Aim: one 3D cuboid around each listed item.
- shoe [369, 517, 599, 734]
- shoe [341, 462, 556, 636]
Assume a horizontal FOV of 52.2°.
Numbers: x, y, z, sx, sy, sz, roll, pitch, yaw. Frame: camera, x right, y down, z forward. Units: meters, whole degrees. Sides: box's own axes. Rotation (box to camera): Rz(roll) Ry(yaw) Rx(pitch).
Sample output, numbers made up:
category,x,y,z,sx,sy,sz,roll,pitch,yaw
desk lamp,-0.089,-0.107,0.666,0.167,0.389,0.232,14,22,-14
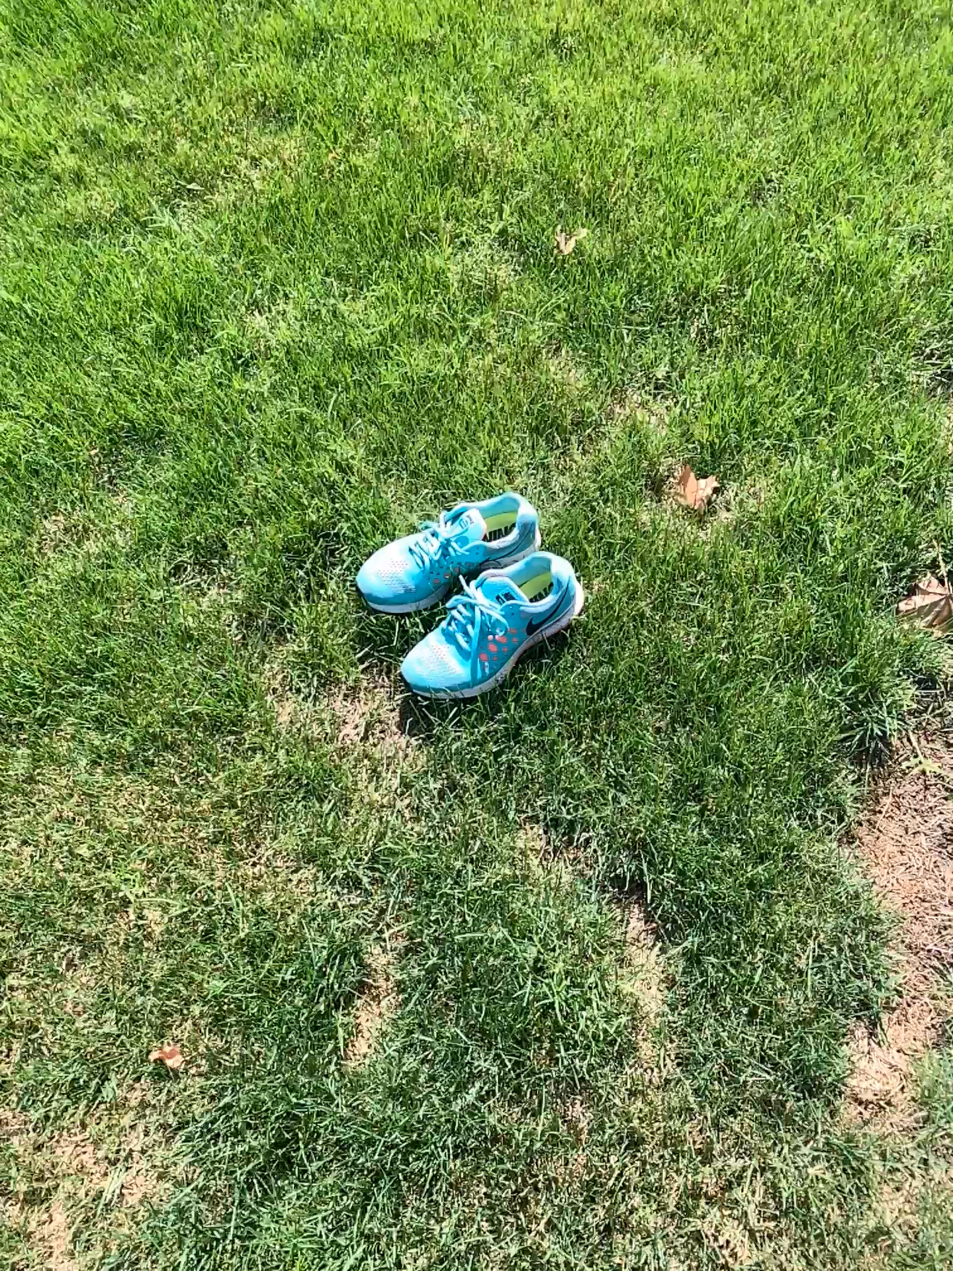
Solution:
category,x,y,z,sx,sy,sz,roll,pitch,yaw
shoe,0.013,-0.014,1.198,0.260,0.100,0.110,-35,65,-14
shoe,-0.032,-0.111,1.243,0.250,0.080,0.100,-26,63,-9
